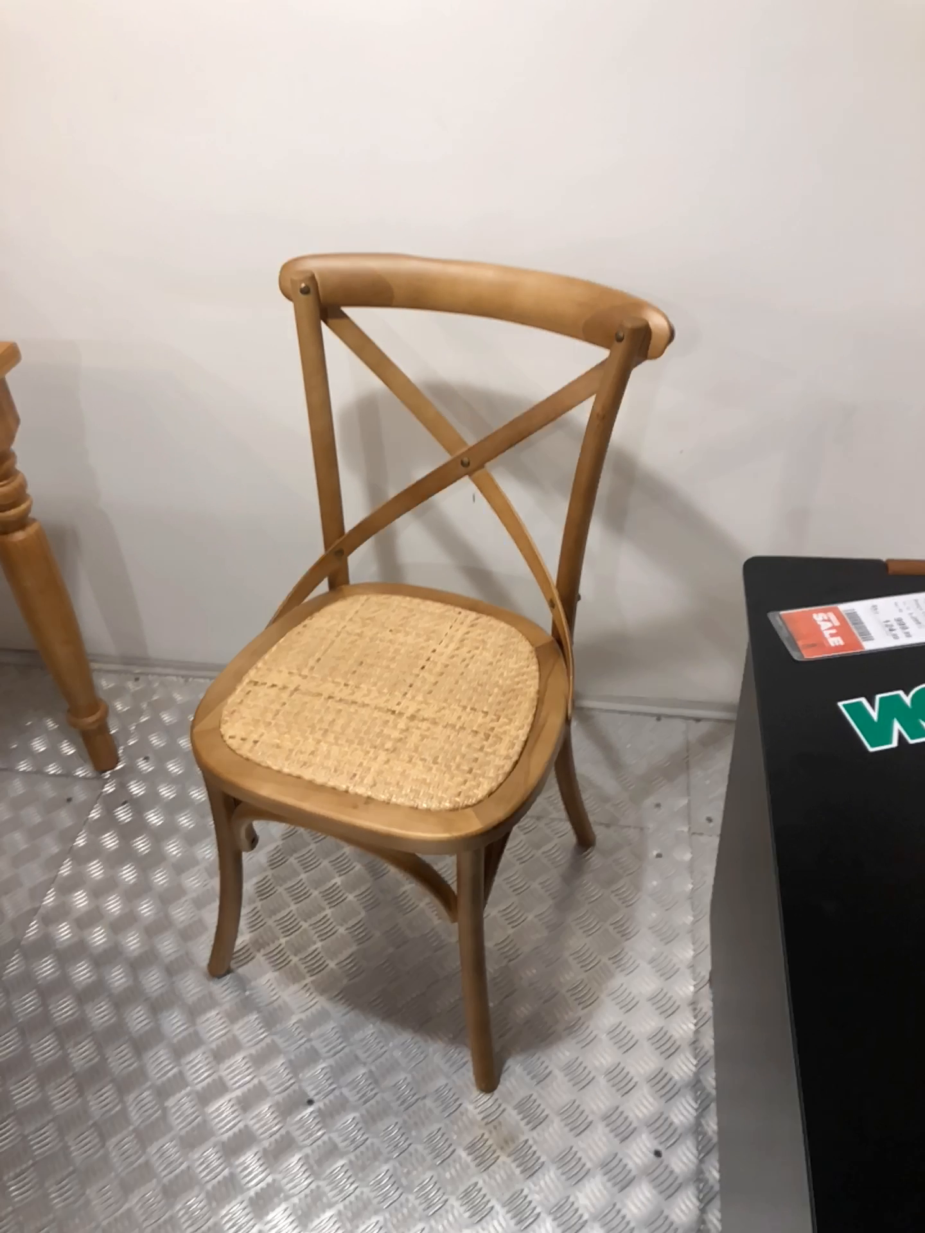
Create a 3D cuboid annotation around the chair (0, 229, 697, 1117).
[{"bbox_3d":[-0.070,0.072,1.280,0.501,0.874,0.543,15,43,21],"label":"chair"}]
